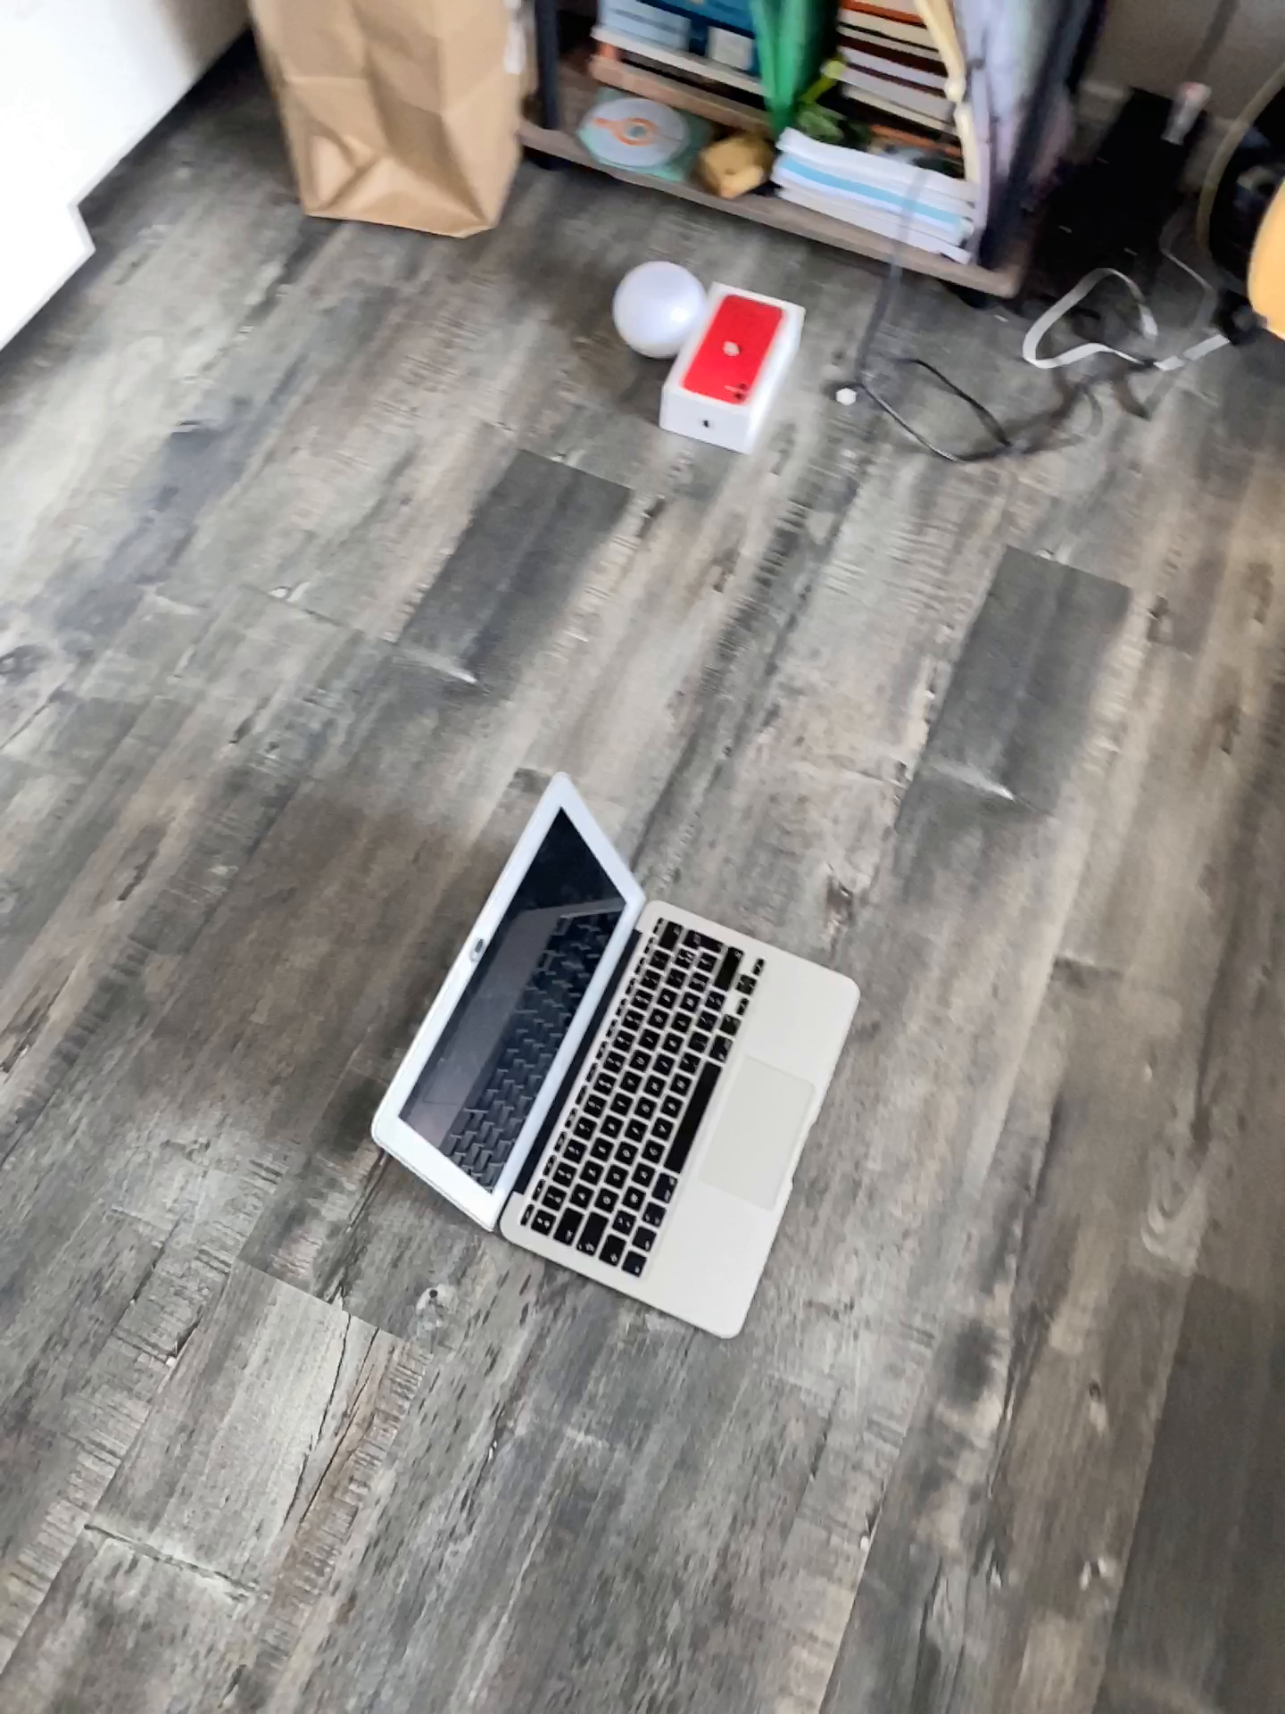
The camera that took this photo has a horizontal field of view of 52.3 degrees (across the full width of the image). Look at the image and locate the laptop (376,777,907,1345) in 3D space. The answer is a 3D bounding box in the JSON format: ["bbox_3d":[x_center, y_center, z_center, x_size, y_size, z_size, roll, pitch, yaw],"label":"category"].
[{"bbox_3d":[0.005,0.140,0.924,0.254,0.159,0.290,20,64,10],"label":"laptop"}]
